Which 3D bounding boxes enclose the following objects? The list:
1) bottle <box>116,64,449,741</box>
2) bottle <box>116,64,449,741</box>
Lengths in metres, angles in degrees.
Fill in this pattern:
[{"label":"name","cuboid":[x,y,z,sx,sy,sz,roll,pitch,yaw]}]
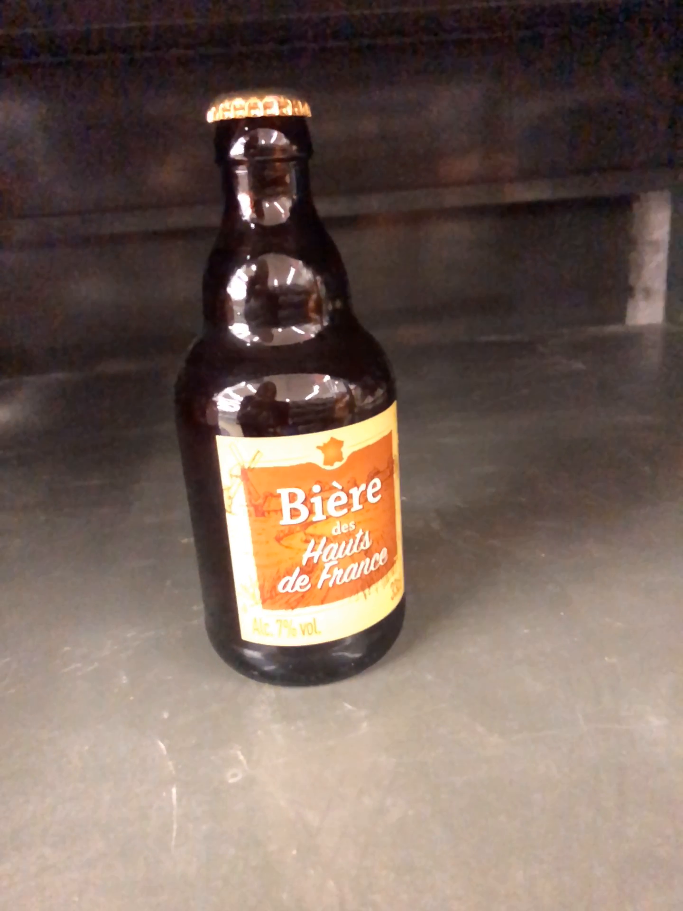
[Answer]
[{"label":"bottle","cuboid":[-0.017,-0.016,0.238,0.070,0.179,0.070,-4,19,1]},{"label":"bottle","cuboid":[-0.017,-0.016,0.238,0.070,0.179,0.070,-4,19,1]}]
